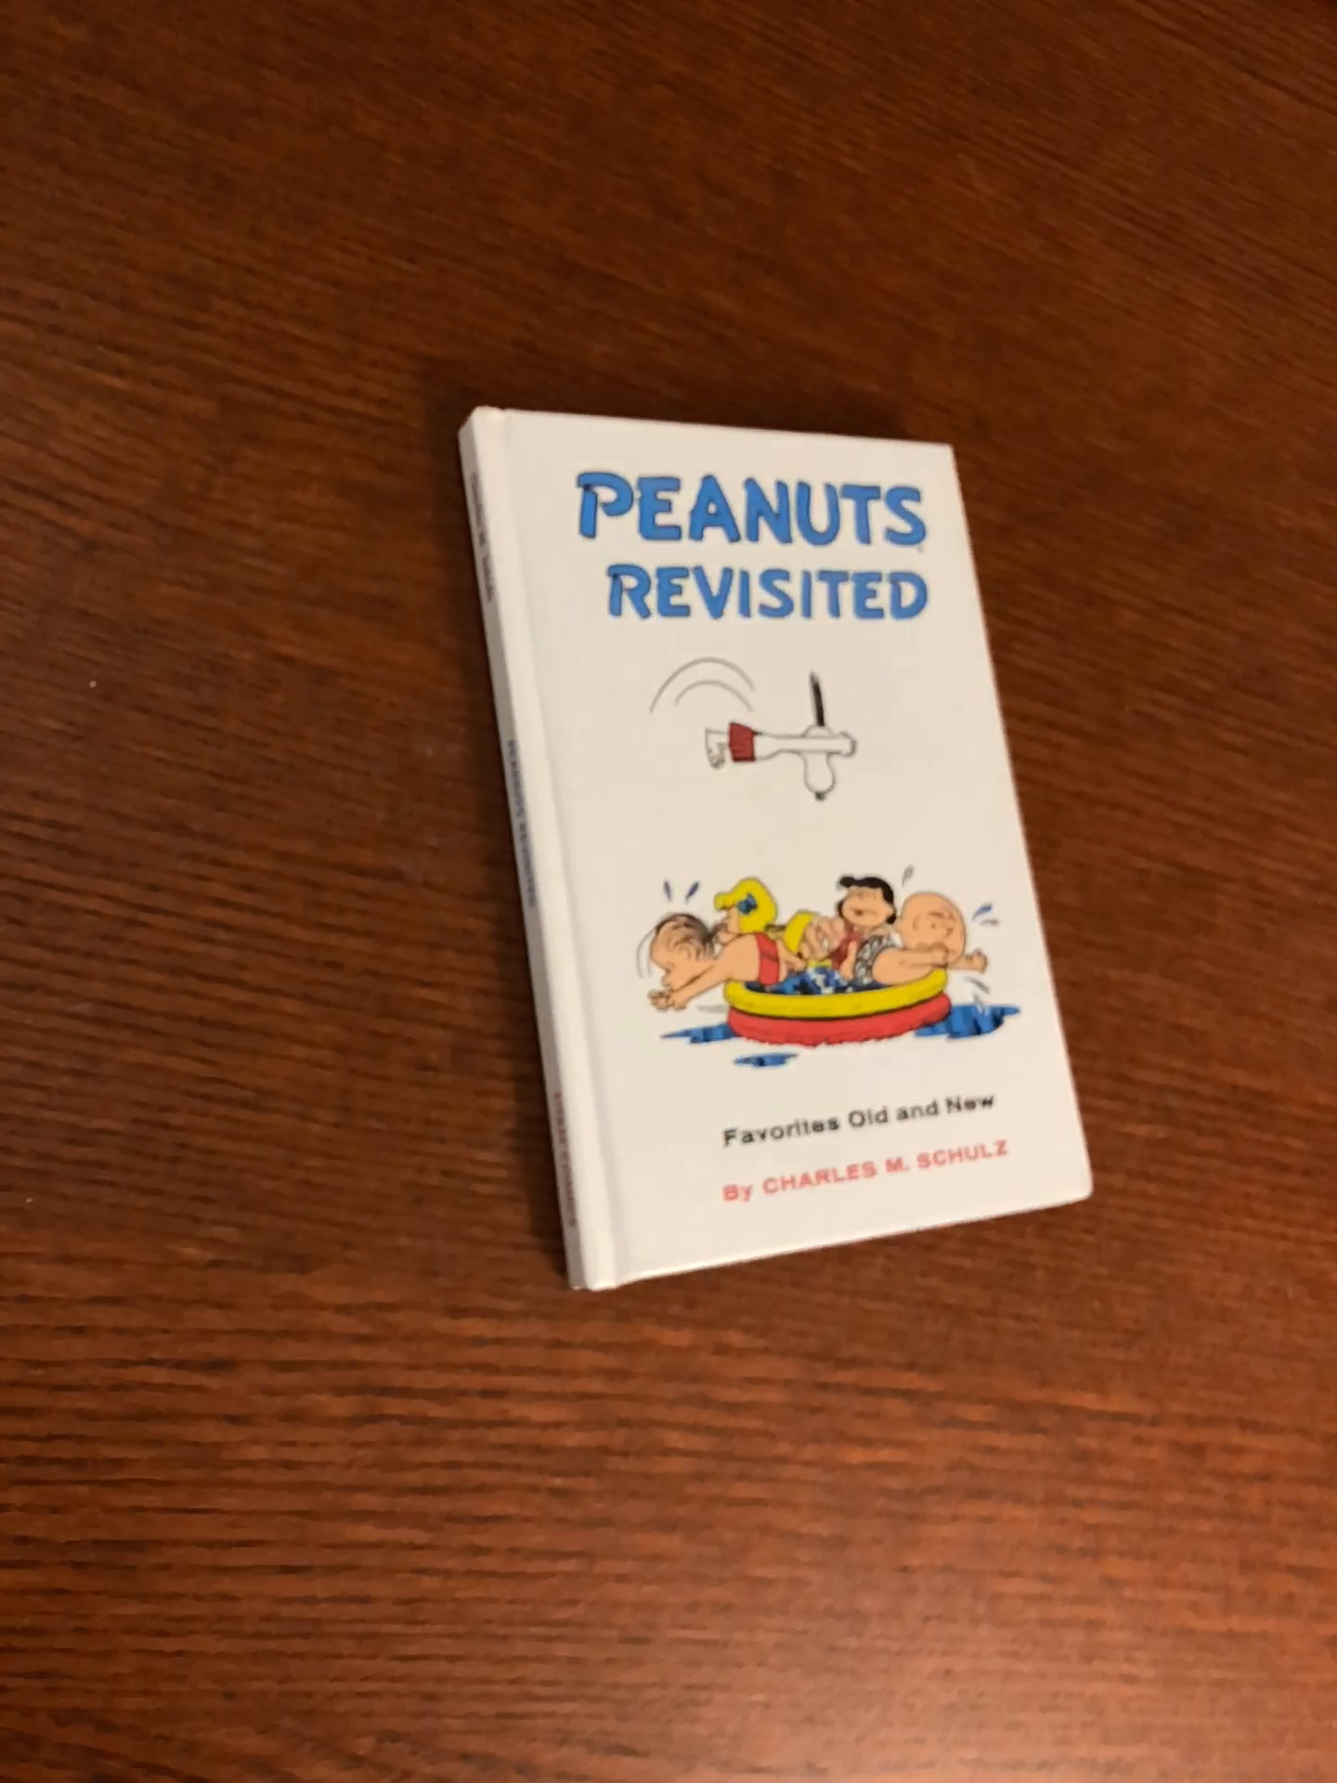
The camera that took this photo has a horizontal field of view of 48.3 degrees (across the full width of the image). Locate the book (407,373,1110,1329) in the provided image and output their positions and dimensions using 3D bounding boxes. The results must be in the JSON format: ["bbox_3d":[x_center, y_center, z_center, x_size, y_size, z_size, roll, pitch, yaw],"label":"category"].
[{"bbox_3d":[0.023,-0.018,0.372,0.150,0.020,0.220,-3,78,-24],"label":"book"}]
